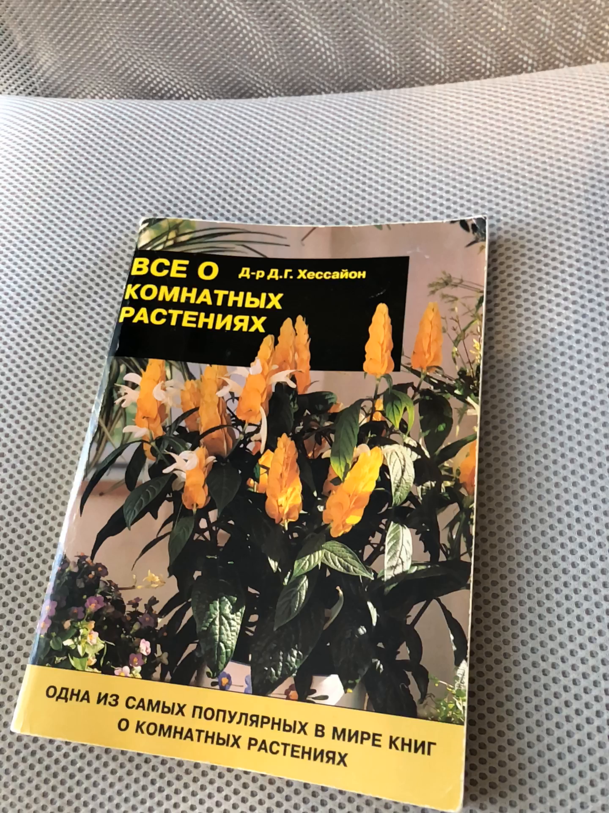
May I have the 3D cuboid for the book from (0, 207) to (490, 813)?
[{"bbox_3d":[-0.015,0.022,0.277,0.170,0.030,0.231,3,68,11],"label":"book"}]
